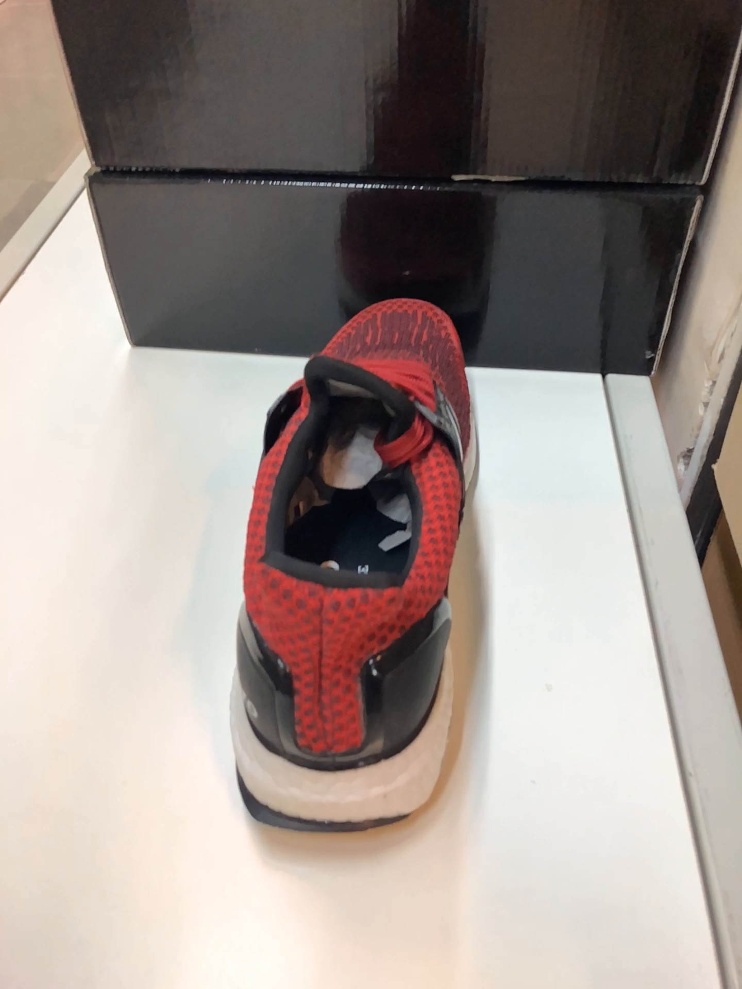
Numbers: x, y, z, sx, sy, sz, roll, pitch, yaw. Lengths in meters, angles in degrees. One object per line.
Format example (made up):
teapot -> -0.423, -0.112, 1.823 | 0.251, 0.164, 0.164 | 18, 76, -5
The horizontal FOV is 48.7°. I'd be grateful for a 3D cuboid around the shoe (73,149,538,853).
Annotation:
shoe -> -0.003, -0.026, 0.332 | 0.111, 0.108, 0.288 | 3, 45, 4
